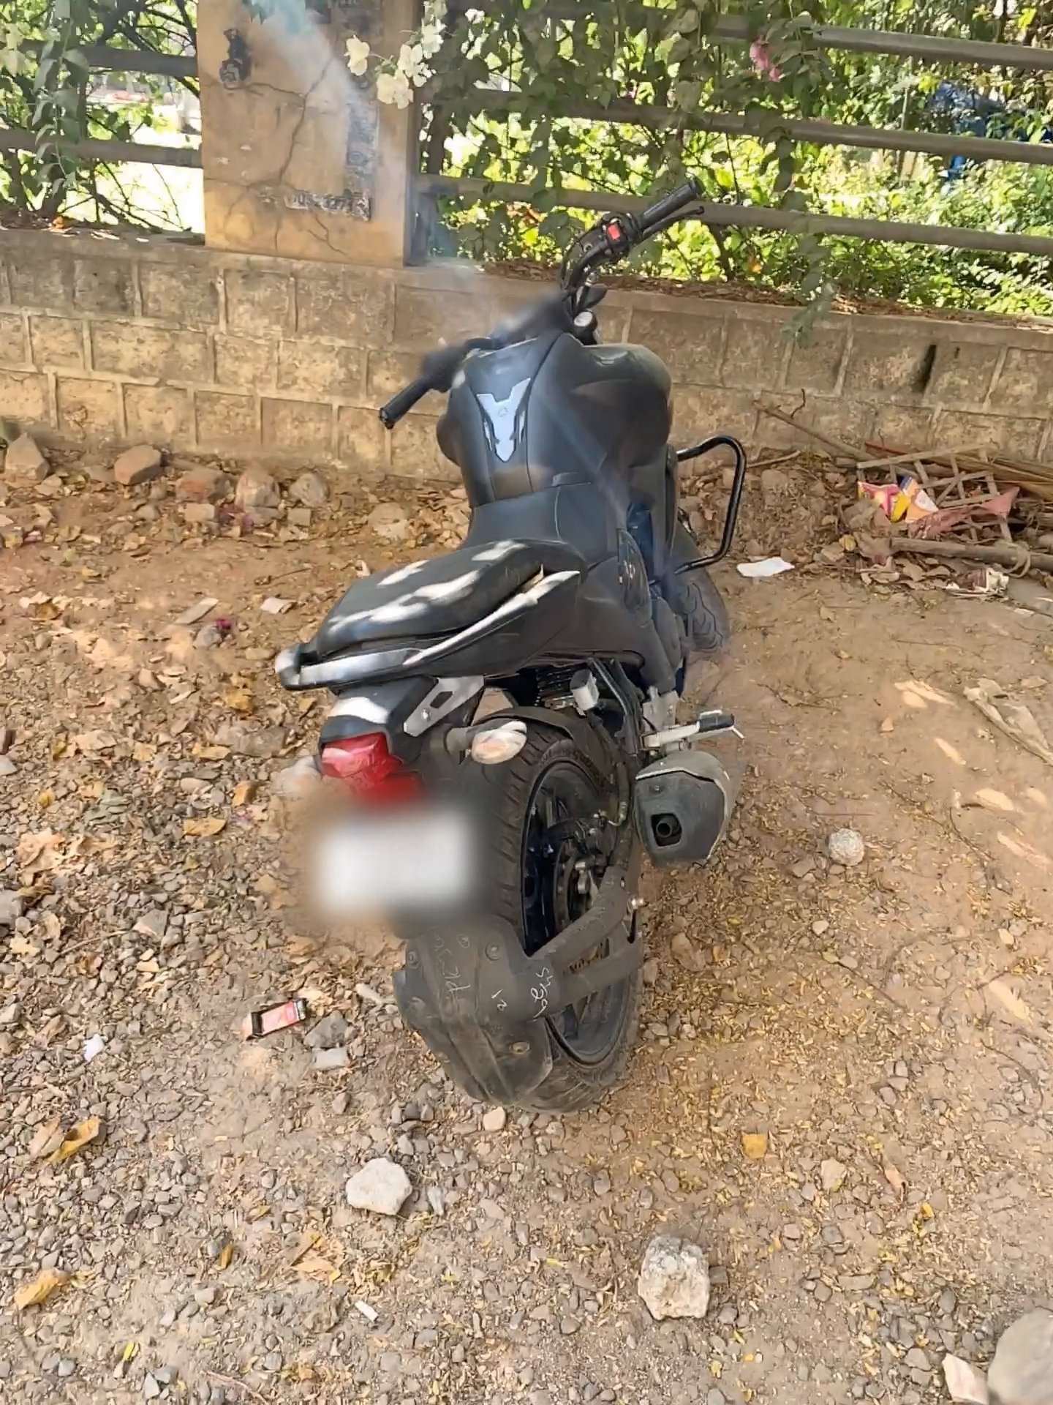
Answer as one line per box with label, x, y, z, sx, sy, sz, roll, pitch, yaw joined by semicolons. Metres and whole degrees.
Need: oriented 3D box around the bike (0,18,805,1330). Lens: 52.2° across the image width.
bike;-0.135;-0.300;2.012;0.818;1.498;1.764;8;32;3
